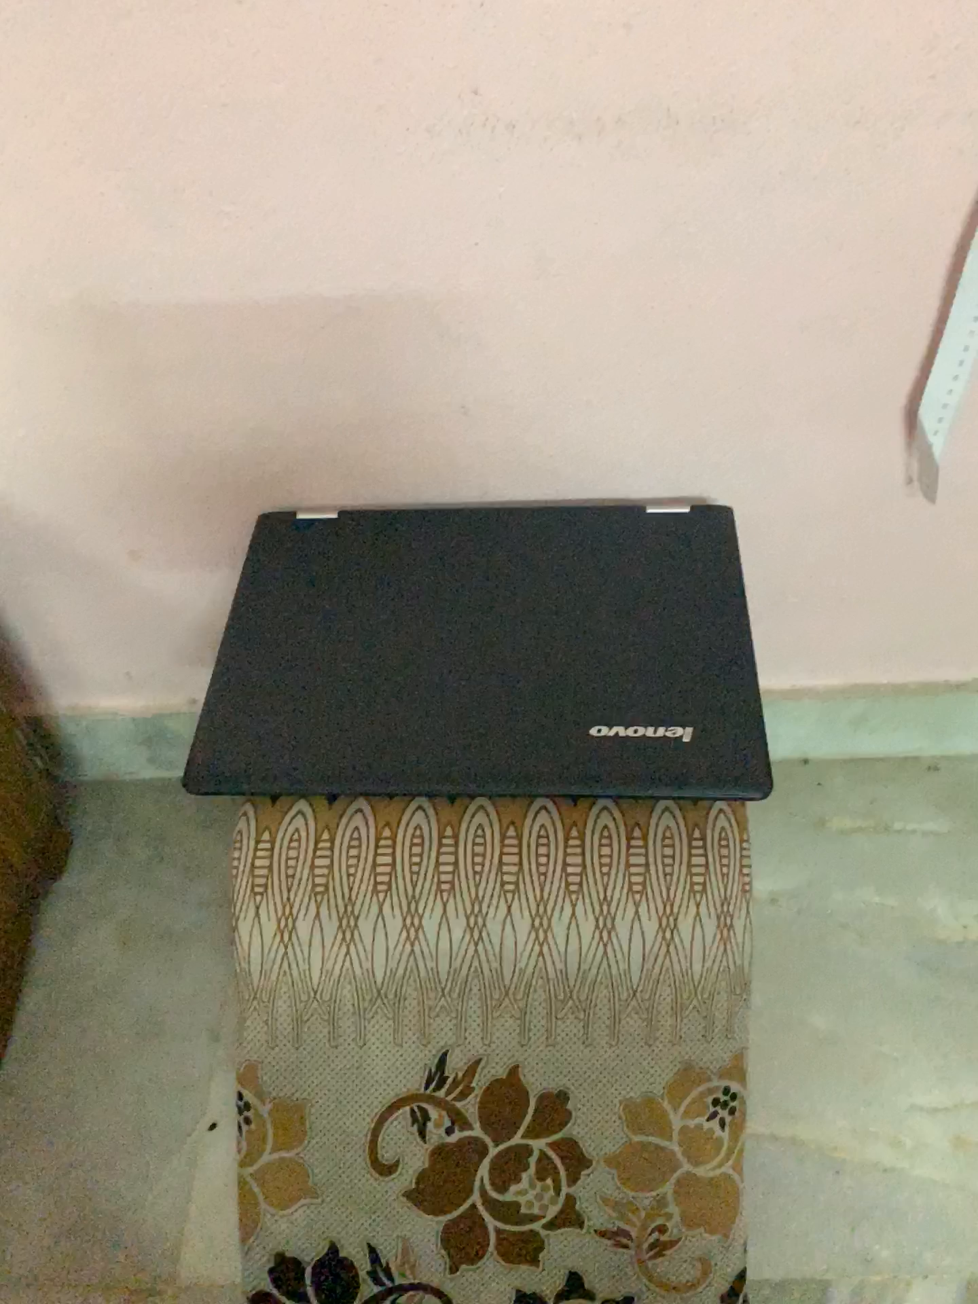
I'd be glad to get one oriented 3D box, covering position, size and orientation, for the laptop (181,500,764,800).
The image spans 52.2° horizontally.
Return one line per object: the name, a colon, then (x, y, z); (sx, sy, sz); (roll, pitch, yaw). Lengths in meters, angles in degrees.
laptop: (-0.005, -0.009, 0.602); (0.312, 0.012, 0.214); (0, 52, 5)
